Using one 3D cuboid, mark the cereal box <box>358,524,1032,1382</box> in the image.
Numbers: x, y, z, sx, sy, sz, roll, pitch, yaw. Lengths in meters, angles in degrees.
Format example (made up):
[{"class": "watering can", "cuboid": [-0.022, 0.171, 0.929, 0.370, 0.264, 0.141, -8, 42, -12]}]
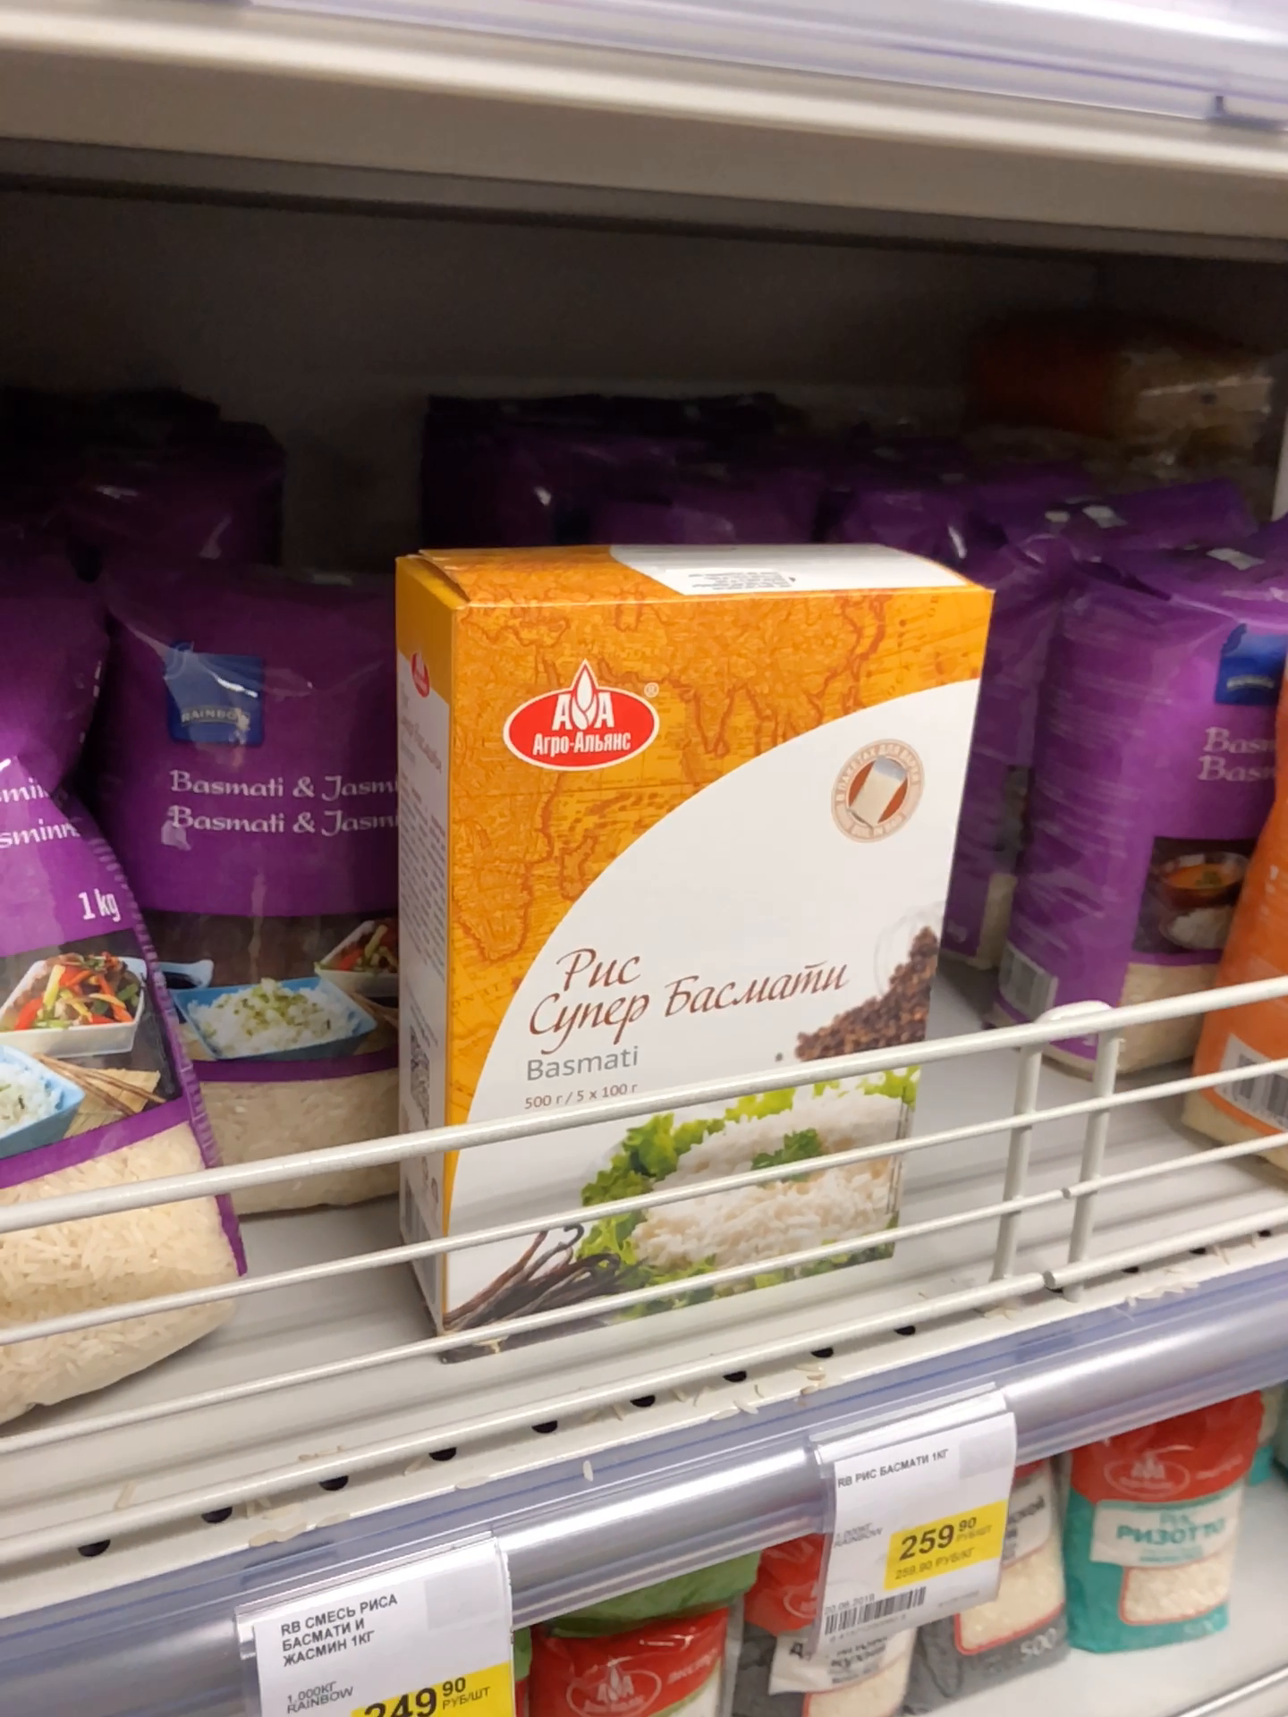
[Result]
[{"class": "cereal box", "cuboid": [0.008, 0.019, 0.358, 0.140, 0.189, 0.060, -7, 23, -20]}]
